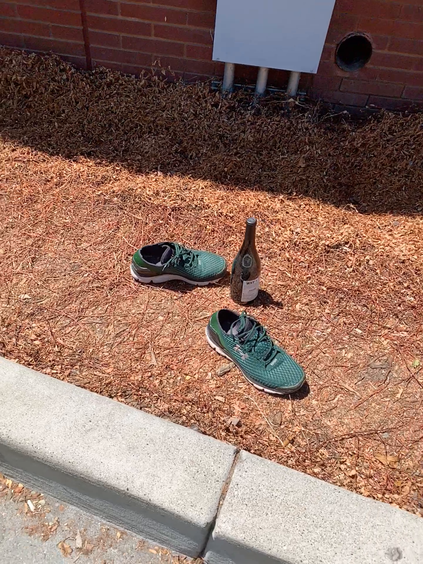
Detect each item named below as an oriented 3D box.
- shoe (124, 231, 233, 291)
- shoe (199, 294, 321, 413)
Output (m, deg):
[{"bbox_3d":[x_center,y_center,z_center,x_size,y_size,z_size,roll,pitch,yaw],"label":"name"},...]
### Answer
[{"bbox_3d":[-0.094,-0.062,1.275,0.300,0.100,0.121,4,48,-3],"label":"shoe"},{"bbox_3d":[0.115,0.176,1.113,0.291,0.100,0.120,38,54,25],"label":"shoe"}]
